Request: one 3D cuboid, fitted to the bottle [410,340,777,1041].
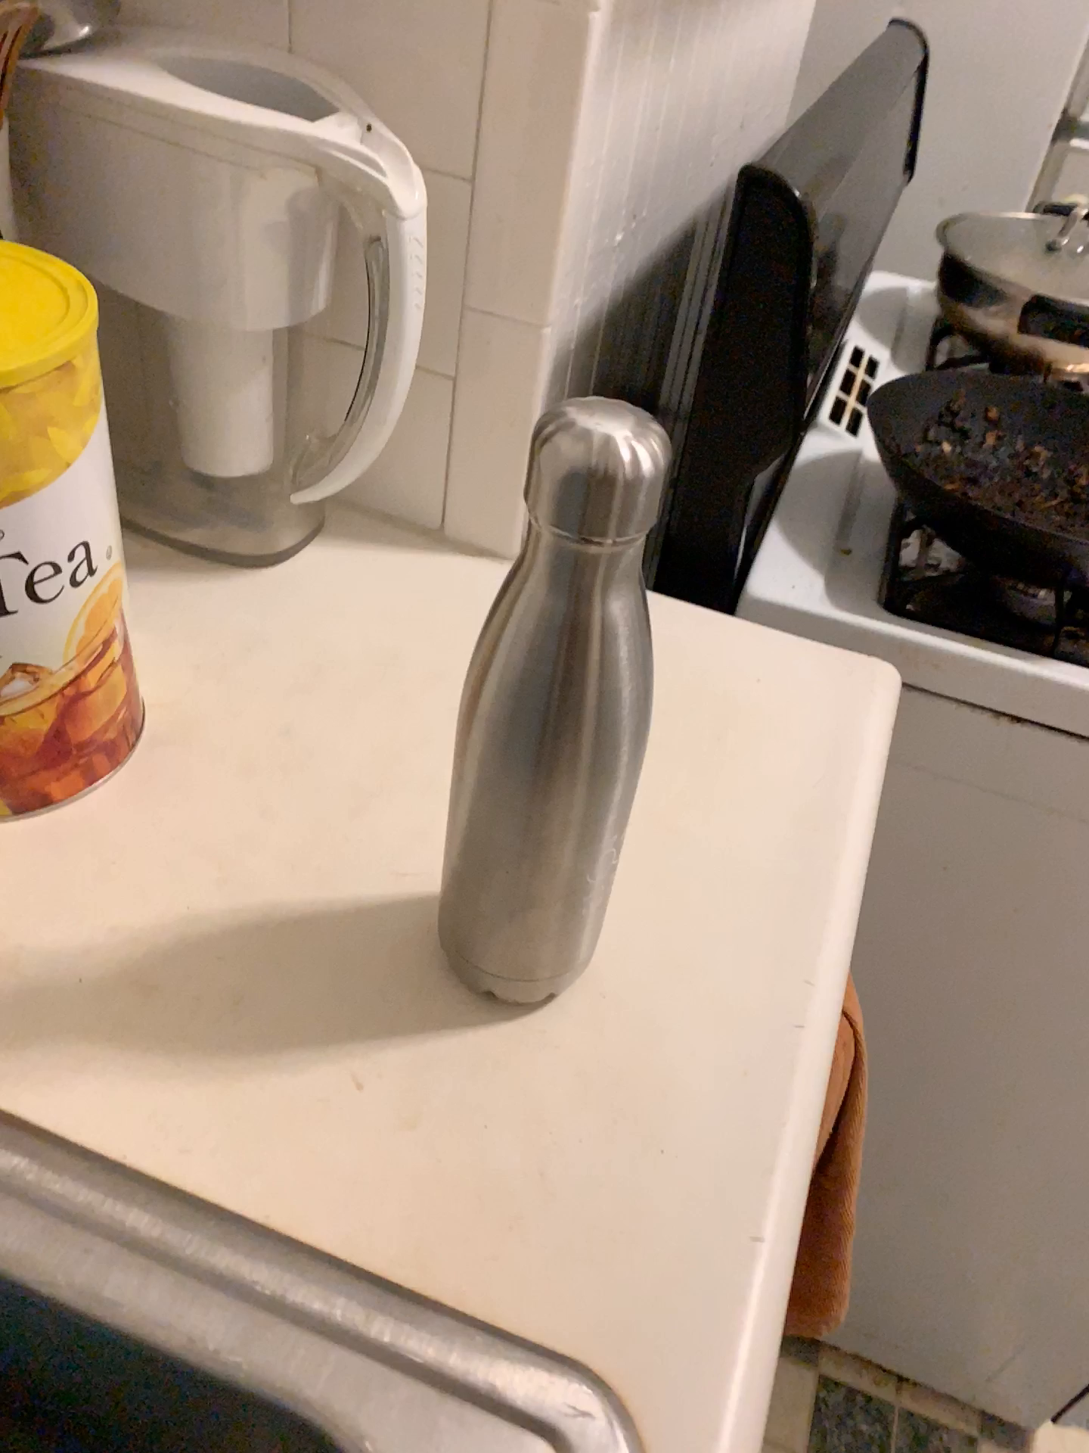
[{"bbox_3d":[0.007,0.002,0.406,0.070,0.249,0.070,6,41,-5],"label":"bottle"}]
